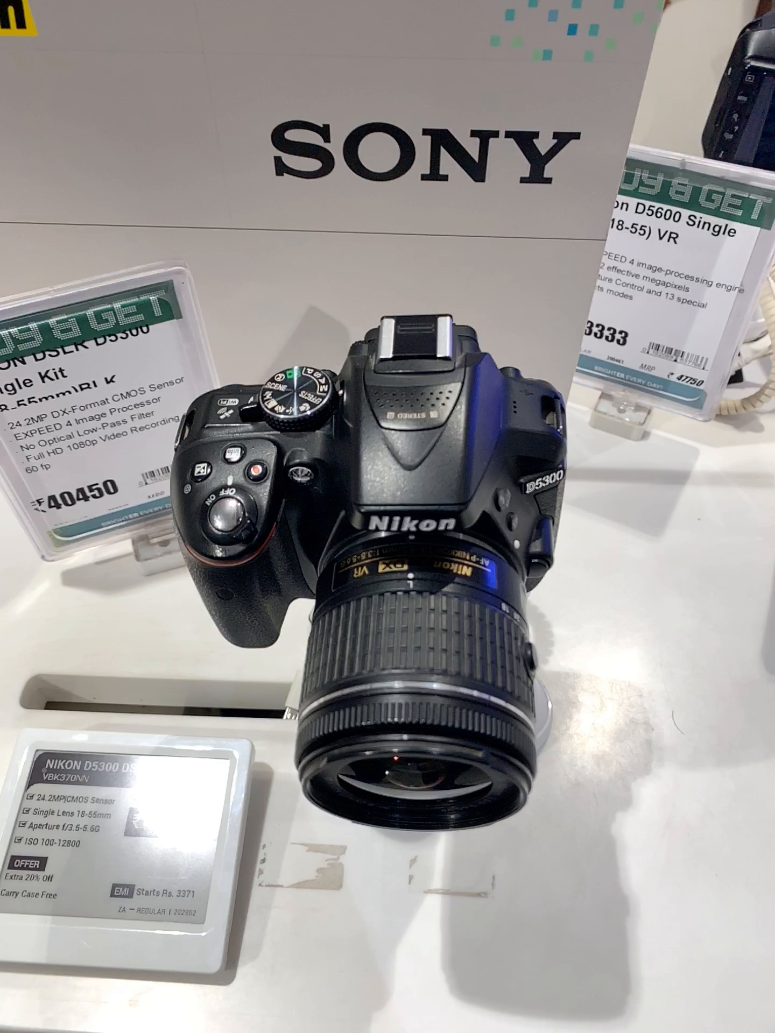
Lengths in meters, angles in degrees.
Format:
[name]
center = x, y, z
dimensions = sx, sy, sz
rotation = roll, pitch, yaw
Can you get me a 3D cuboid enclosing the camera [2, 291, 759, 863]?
[camera]
center = -0.002, 0.010, 0.206
dimensions = 0.130, 0.070, 0.130
rotation = -1, 49, 0
